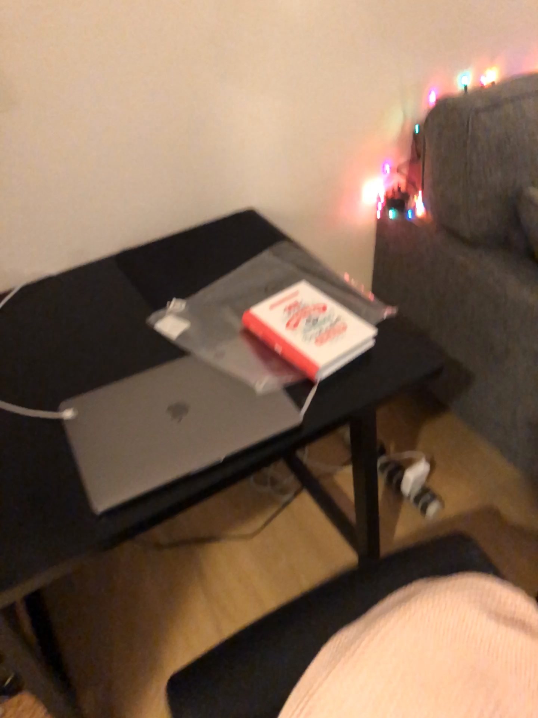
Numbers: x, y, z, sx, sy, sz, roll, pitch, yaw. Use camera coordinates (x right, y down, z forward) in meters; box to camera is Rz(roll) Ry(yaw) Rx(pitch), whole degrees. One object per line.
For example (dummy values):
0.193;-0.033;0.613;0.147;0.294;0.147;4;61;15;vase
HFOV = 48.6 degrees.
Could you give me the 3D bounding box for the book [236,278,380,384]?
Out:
0.061;-0.053;0.972;0.140;0.030;0.190;-32;49;-28;book
